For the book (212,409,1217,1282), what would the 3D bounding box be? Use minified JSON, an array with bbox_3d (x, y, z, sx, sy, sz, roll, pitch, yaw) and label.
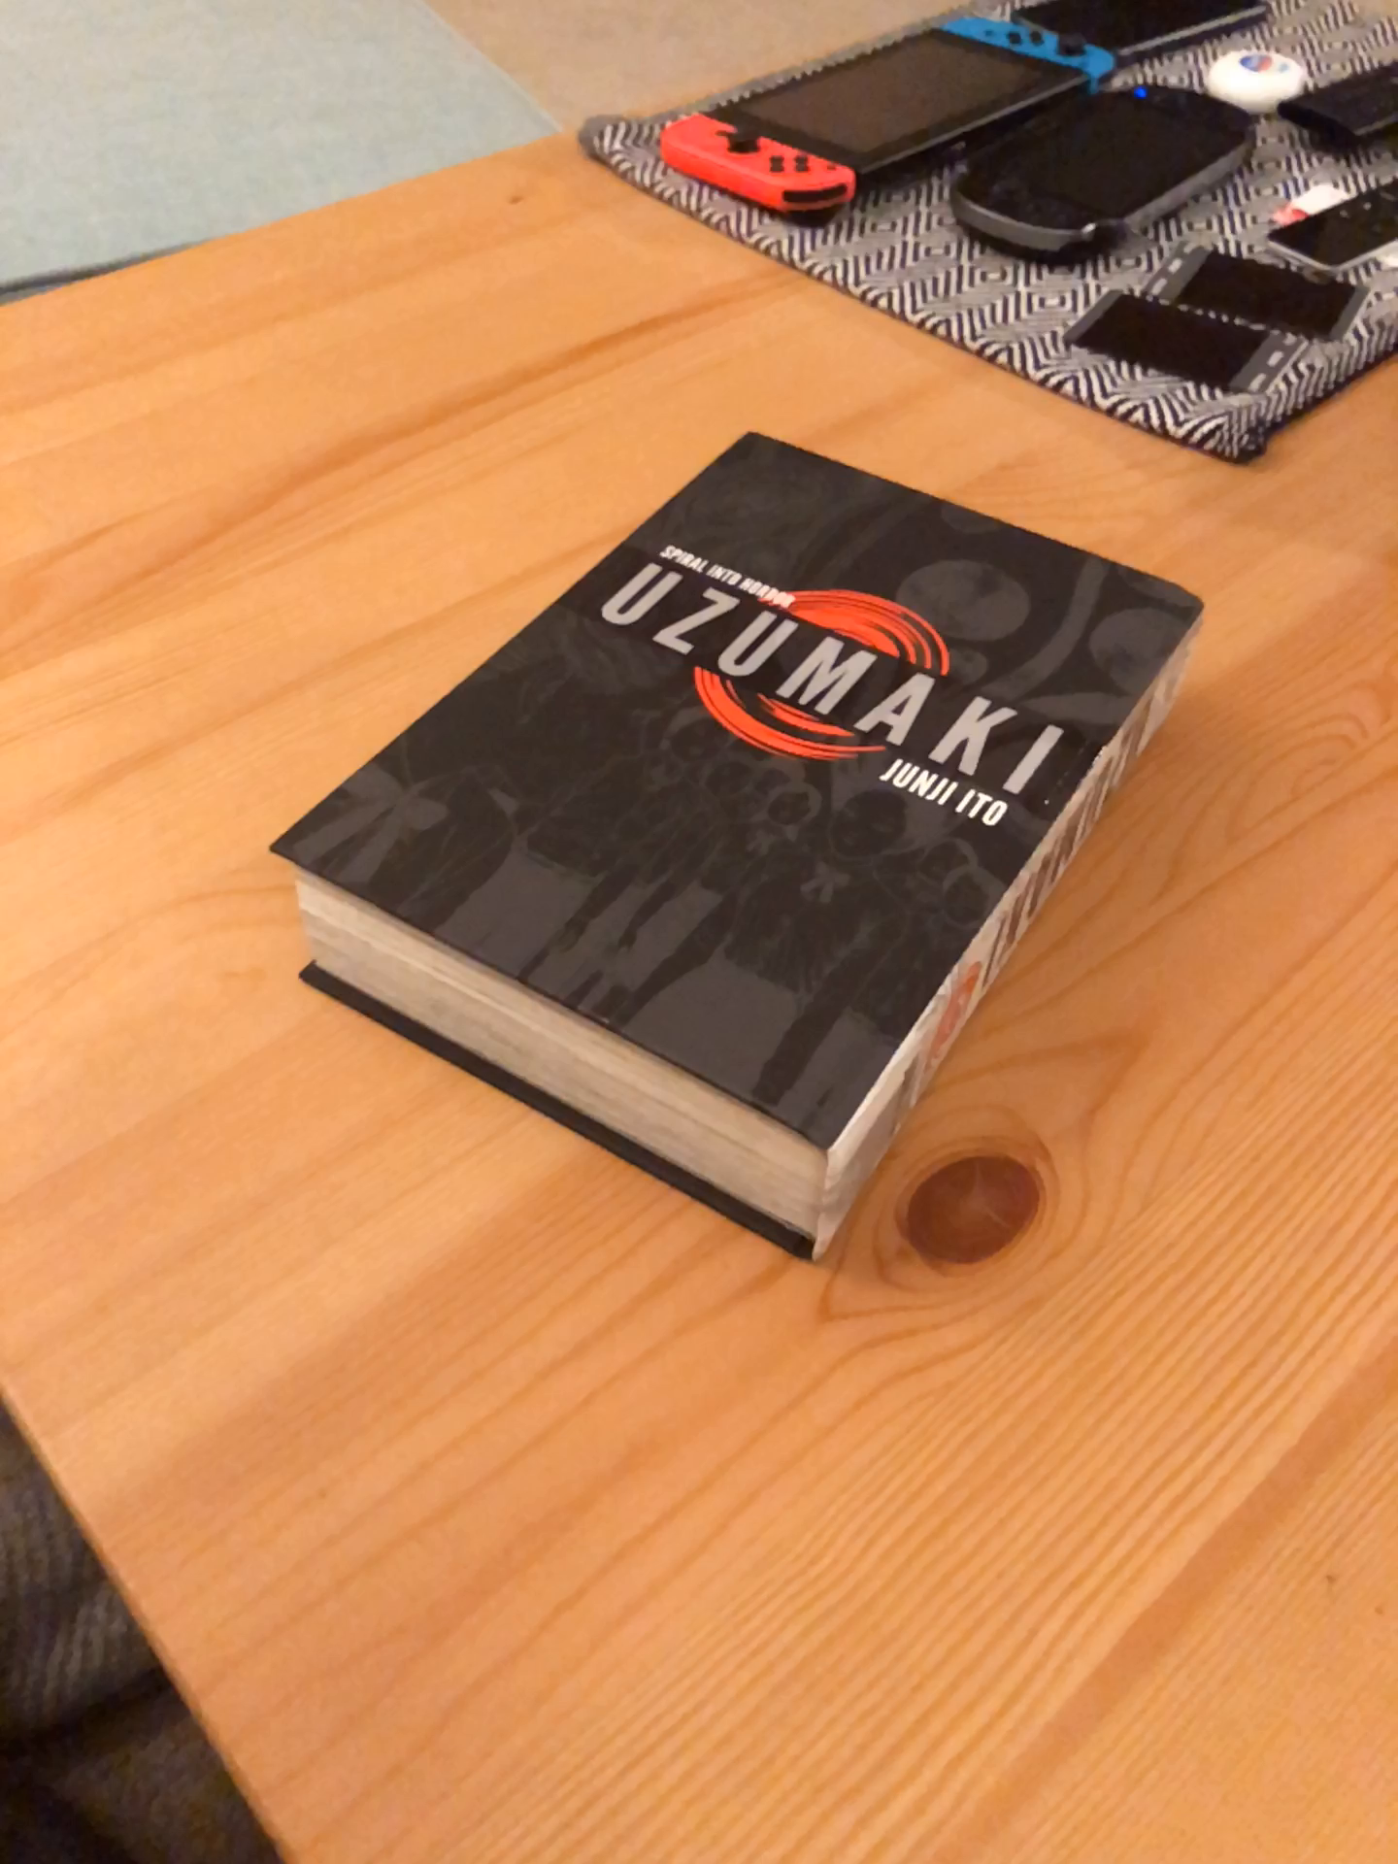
[{"bbox_3d":[0.013,-0.040,0.388,0.157,0.048,0.205,27,54,20],"label":"book"}]
